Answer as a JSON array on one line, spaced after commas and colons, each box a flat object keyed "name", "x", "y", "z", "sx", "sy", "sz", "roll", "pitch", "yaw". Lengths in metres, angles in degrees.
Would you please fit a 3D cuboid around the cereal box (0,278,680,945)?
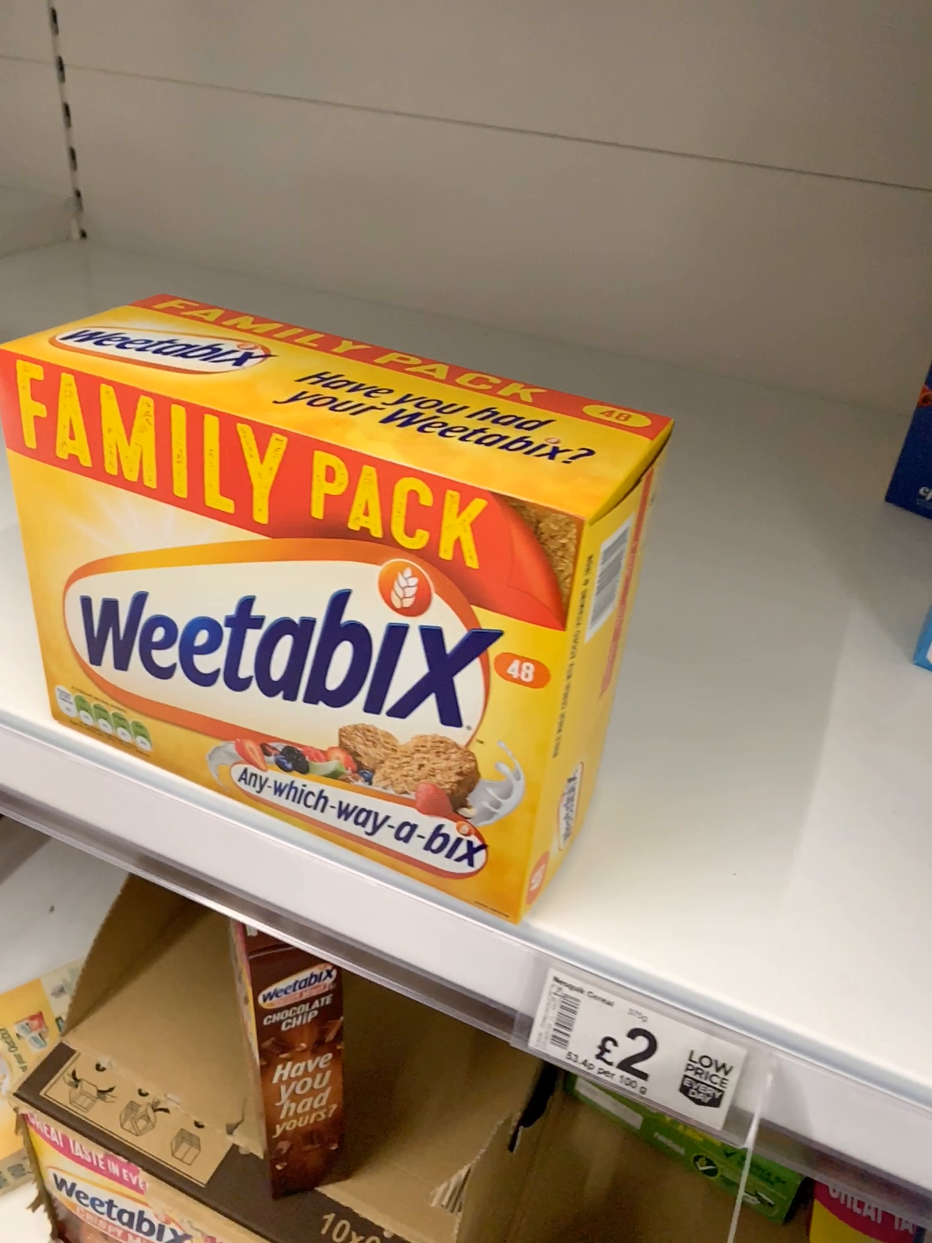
[{"name": "cereal box", "x": -0.067, "y": -0.013, "z": 0.402, "sx": 0.260, "sy": 0.188, "sz": 0.091, "roll": 19, "pitch": 36, "yaw": 19}]
